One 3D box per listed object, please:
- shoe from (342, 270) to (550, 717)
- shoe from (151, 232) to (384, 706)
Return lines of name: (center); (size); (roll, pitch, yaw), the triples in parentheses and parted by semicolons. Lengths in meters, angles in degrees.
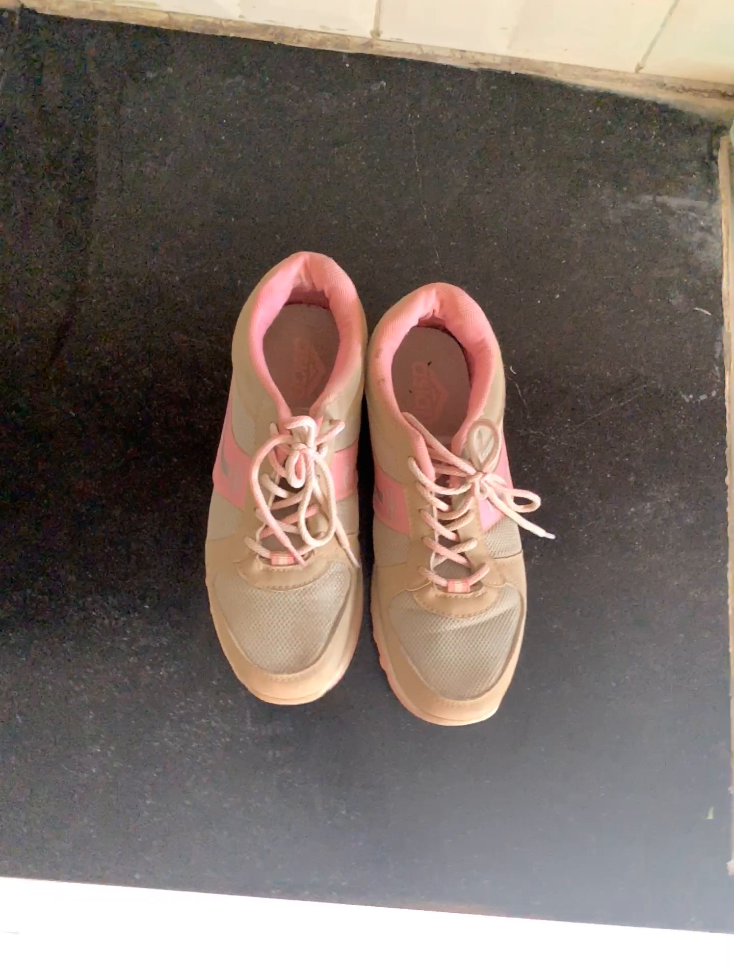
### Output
shoe: (0.036, 0.004, 0.432); (0.090, 0.100, 0.230); (-1, 78, -4)
shoe: (-0.049, -0.007, 0.427); (0.100, 0.100, 0.240); (3, 78, -3)
